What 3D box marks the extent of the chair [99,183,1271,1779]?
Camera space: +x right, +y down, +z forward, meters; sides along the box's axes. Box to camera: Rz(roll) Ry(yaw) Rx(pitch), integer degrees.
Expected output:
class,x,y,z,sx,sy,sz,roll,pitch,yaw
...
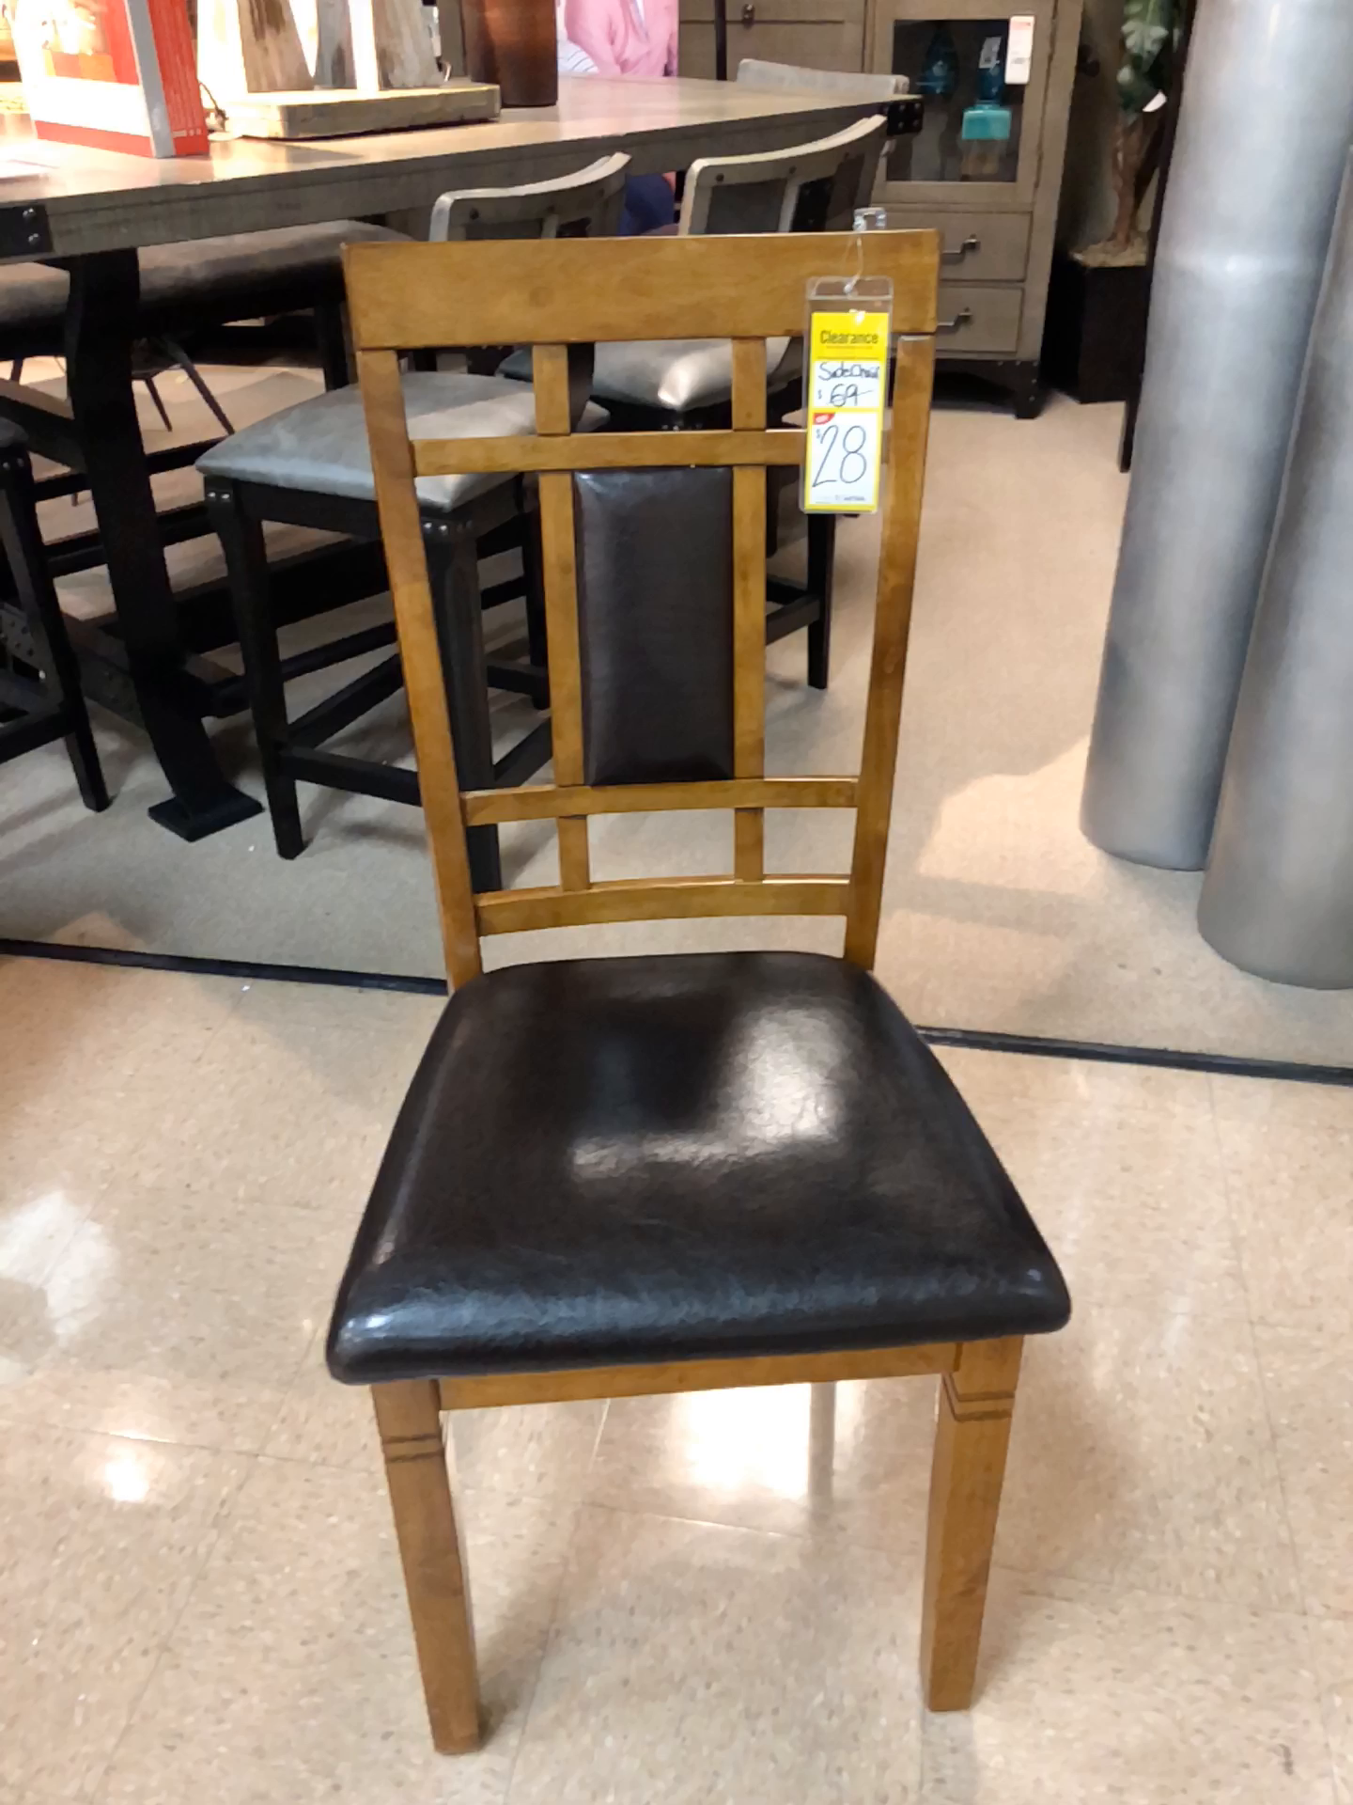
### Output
class,x,y,z,sx,sy,sz,roll,pitch,yaw
chair,-0.006,0.080,1.045,0.450,0.993,0.504,-3,33,-3
